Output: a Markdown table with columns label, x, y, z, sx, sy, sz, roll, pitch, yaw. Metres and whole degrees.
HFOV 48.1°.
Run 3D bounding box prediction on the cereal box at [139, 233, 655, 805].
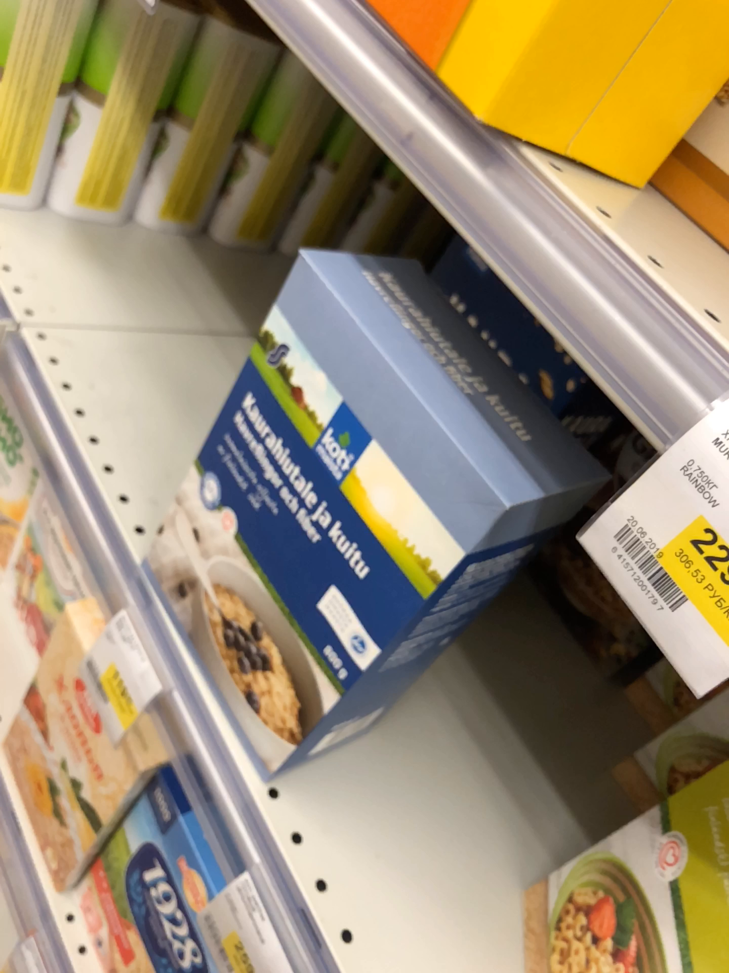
| label | x | y | z | sx | sy | sz | roll | pitch | yaw |
| --- | --- | --- | --- | --- | --- | --- | --- | --- | --- |
| cereal box | -0.005 | 0.021 | 0.391 | 0.080 | 0.219 | 0.150 | -10 | 56 | -46 |
